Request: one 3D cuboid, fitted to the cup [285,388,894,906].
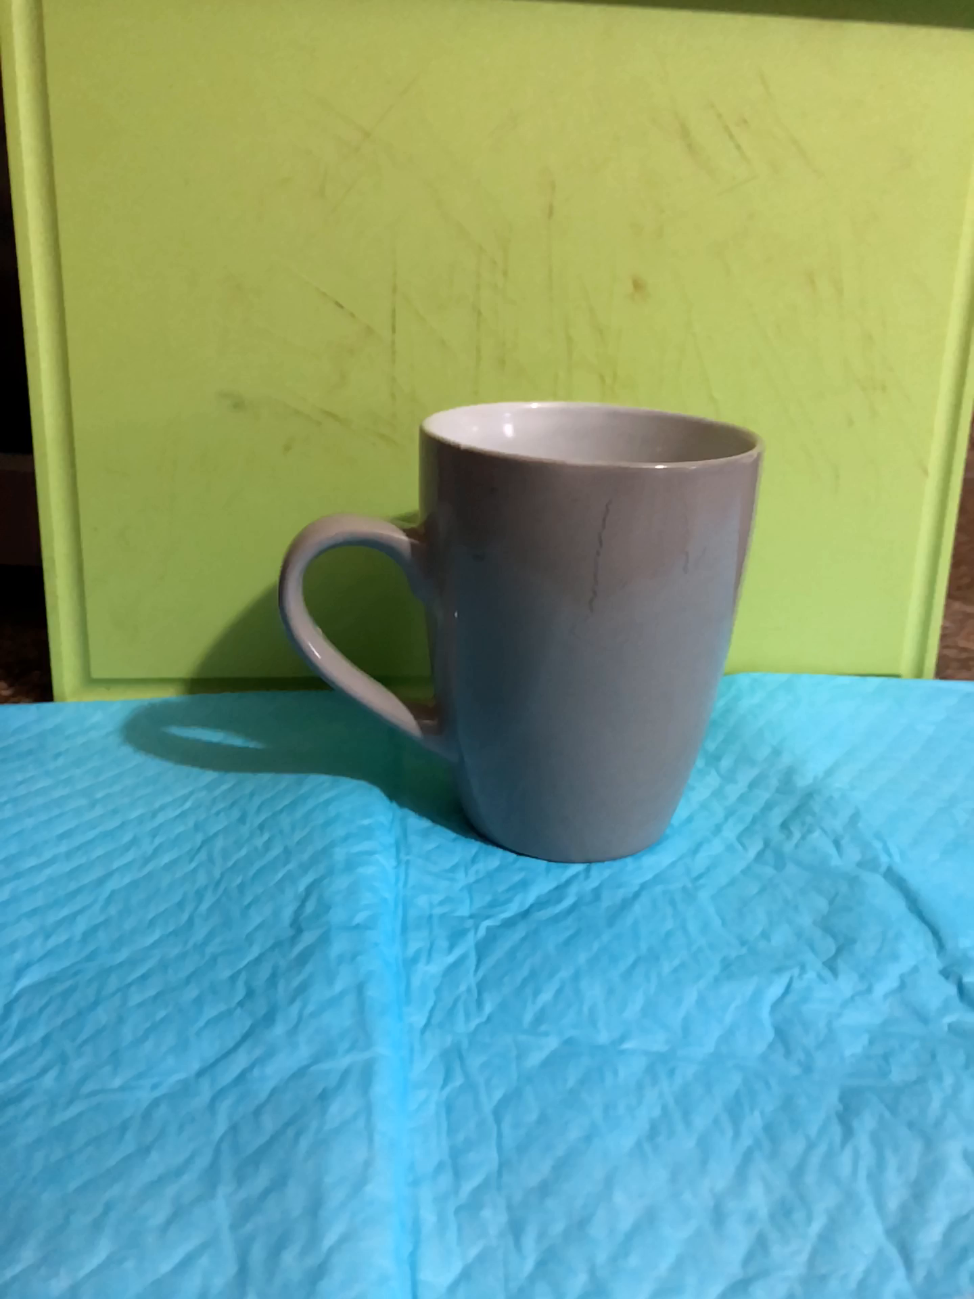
[{"bbox_3d":[0.017,-0.009,0.248,0.110,0.090,0.070,-6,22,-23],"label":"cup"}]
